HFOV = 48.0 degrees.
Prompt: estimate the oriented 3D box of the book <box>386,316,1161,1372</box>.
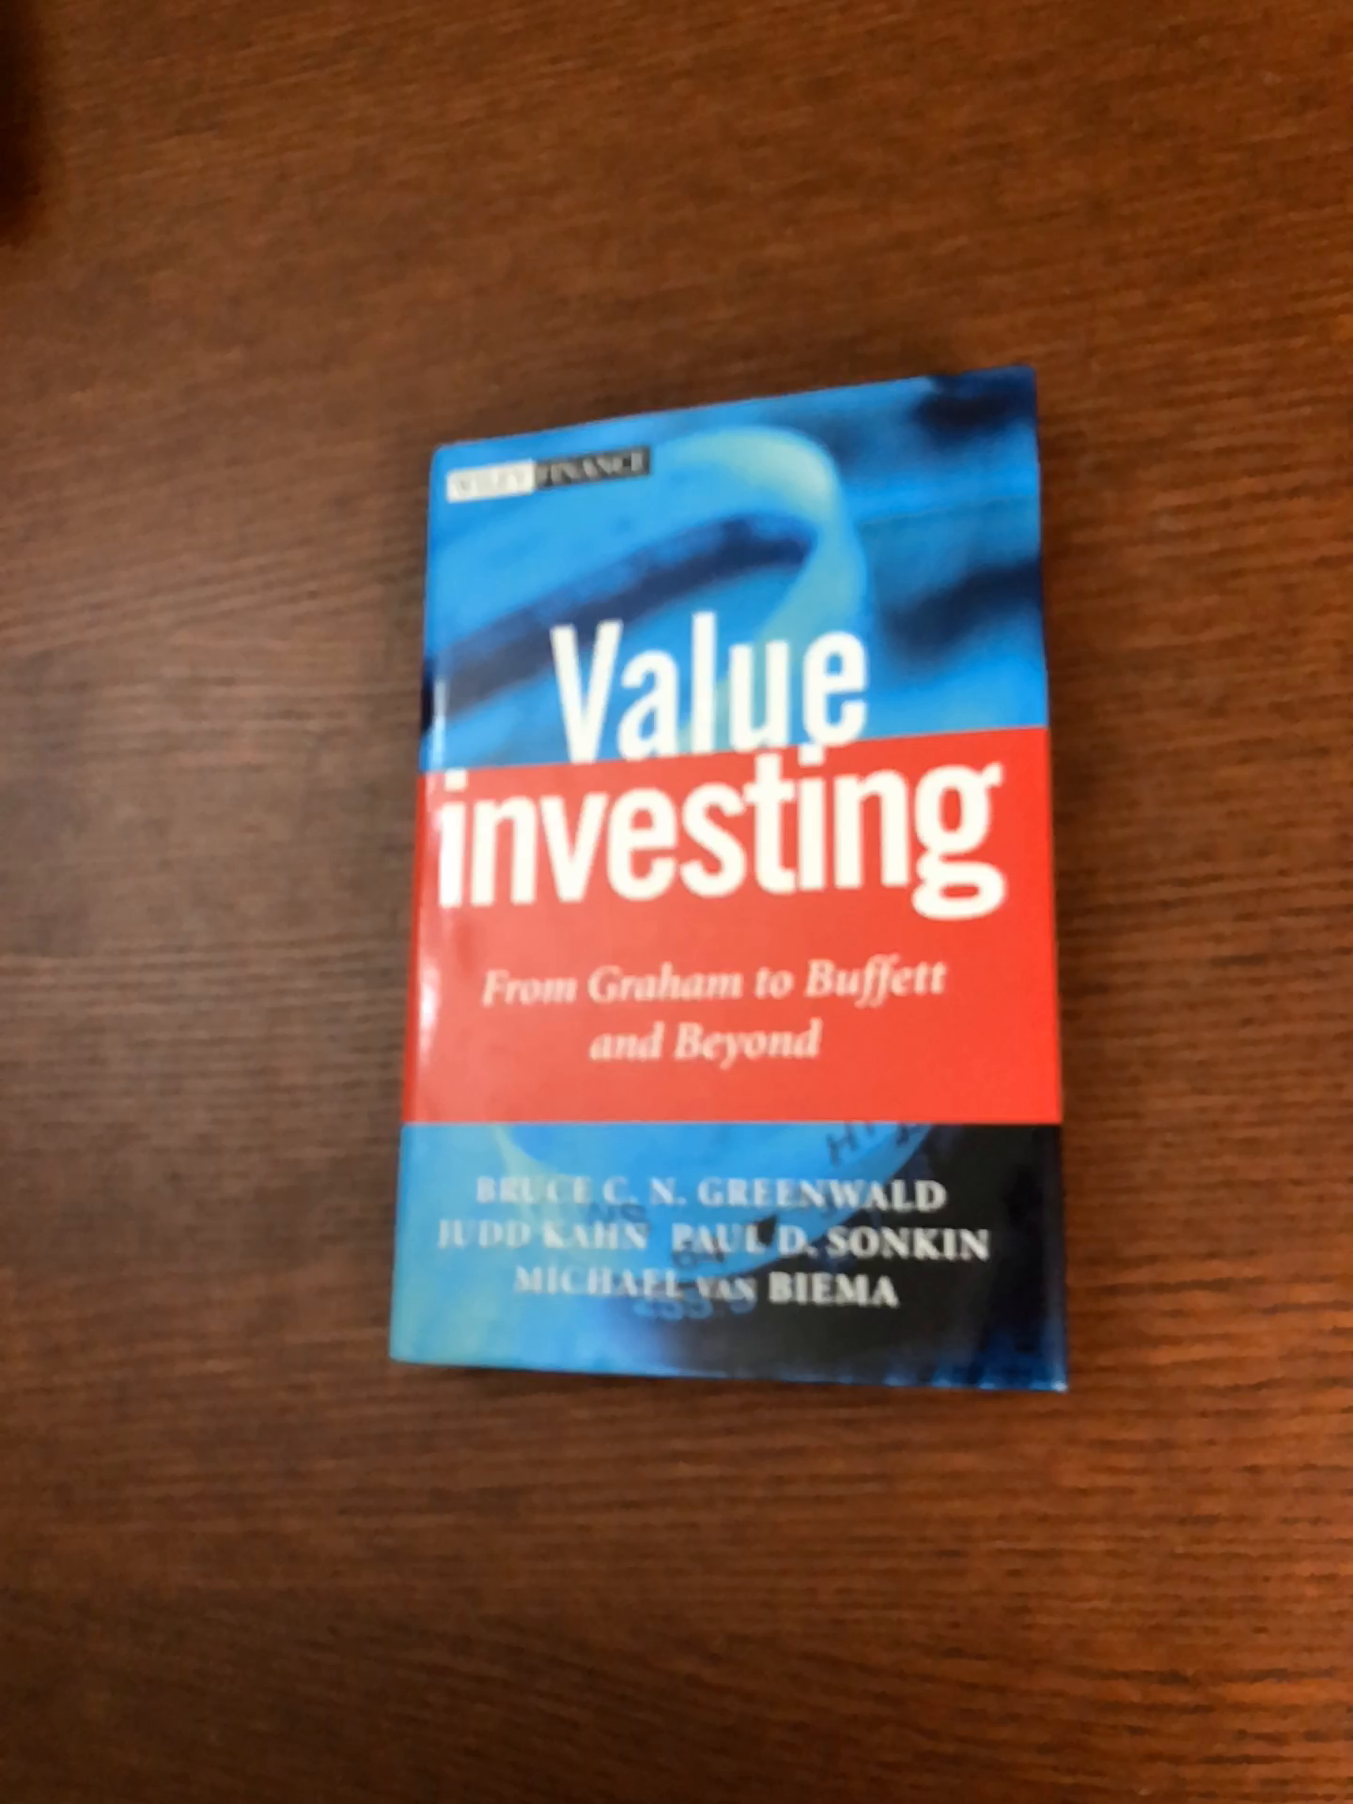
[{"bbox_3d":[0.021,-0.016,0.357,0.170,0.020,0.230,-2,78,17],"label":"book"}]
